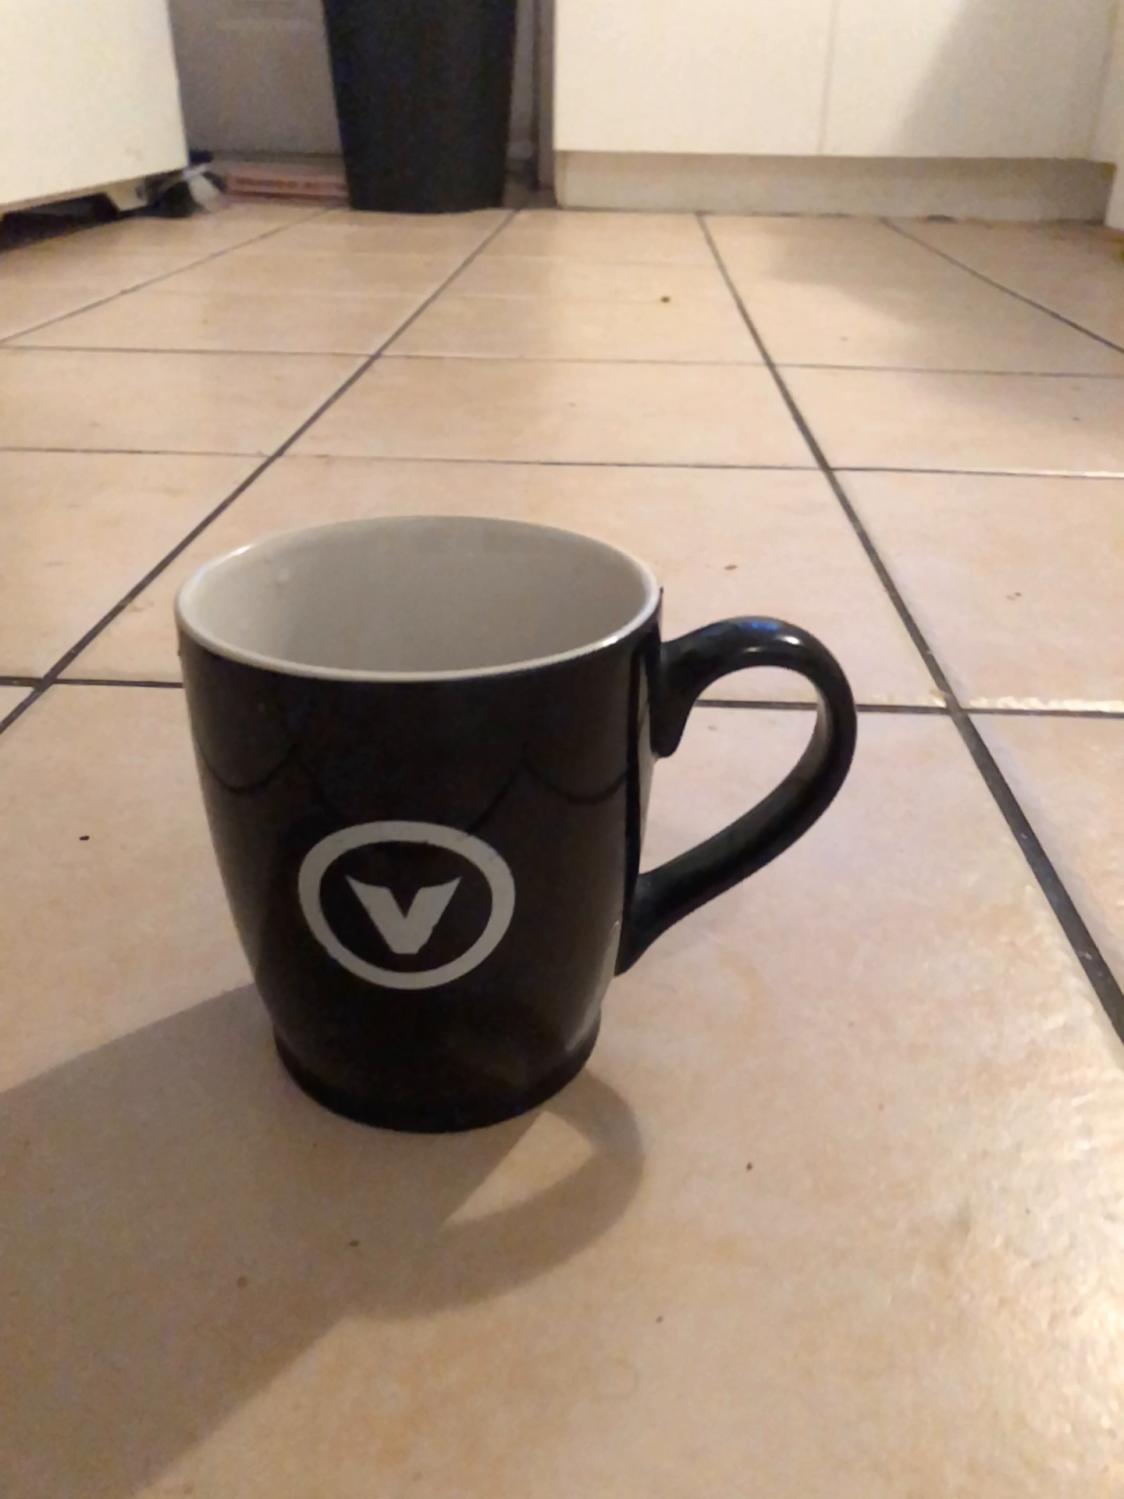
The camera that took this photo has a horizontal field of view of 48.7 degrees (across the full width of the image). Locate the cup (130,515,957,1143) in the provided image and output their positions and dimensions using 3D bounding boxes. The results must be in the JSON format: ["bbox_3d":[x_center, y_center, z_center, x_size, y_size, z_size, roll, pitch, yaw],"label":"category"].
[{"bbox_3d":[-0.005,0.012,0.277,0.140,0.100,0.101,0,27,-2],"label":"cup"}]
